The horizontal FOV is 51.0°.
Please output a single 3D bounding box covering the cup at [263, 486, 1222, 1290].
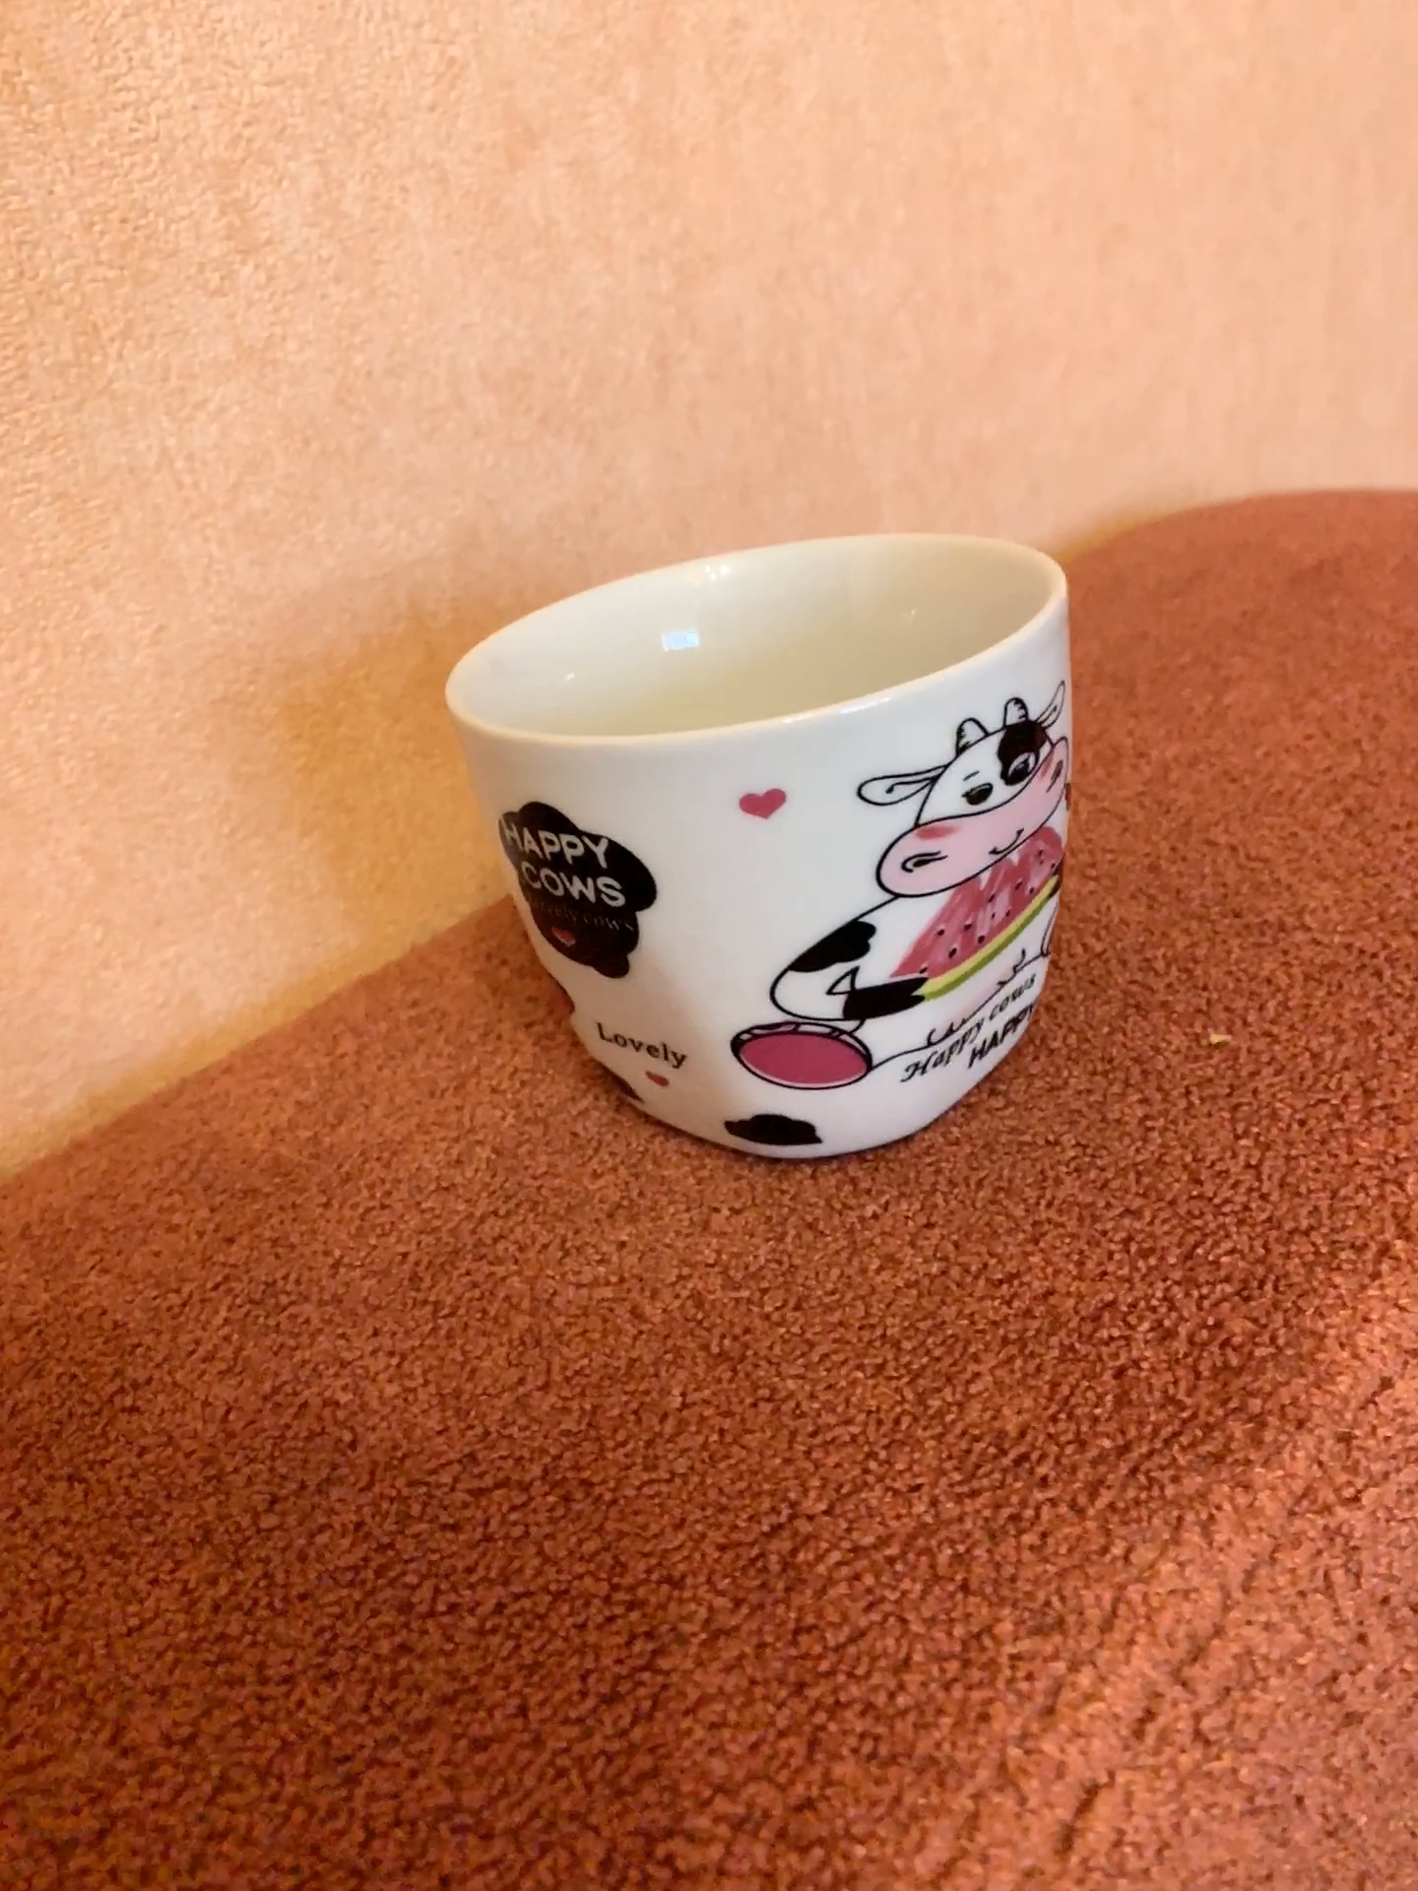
[{"bbox_3d":[0.008,-0.018,0.202,0.095,0.056,0.079,-31,35,-31],"label":"cup"}]
